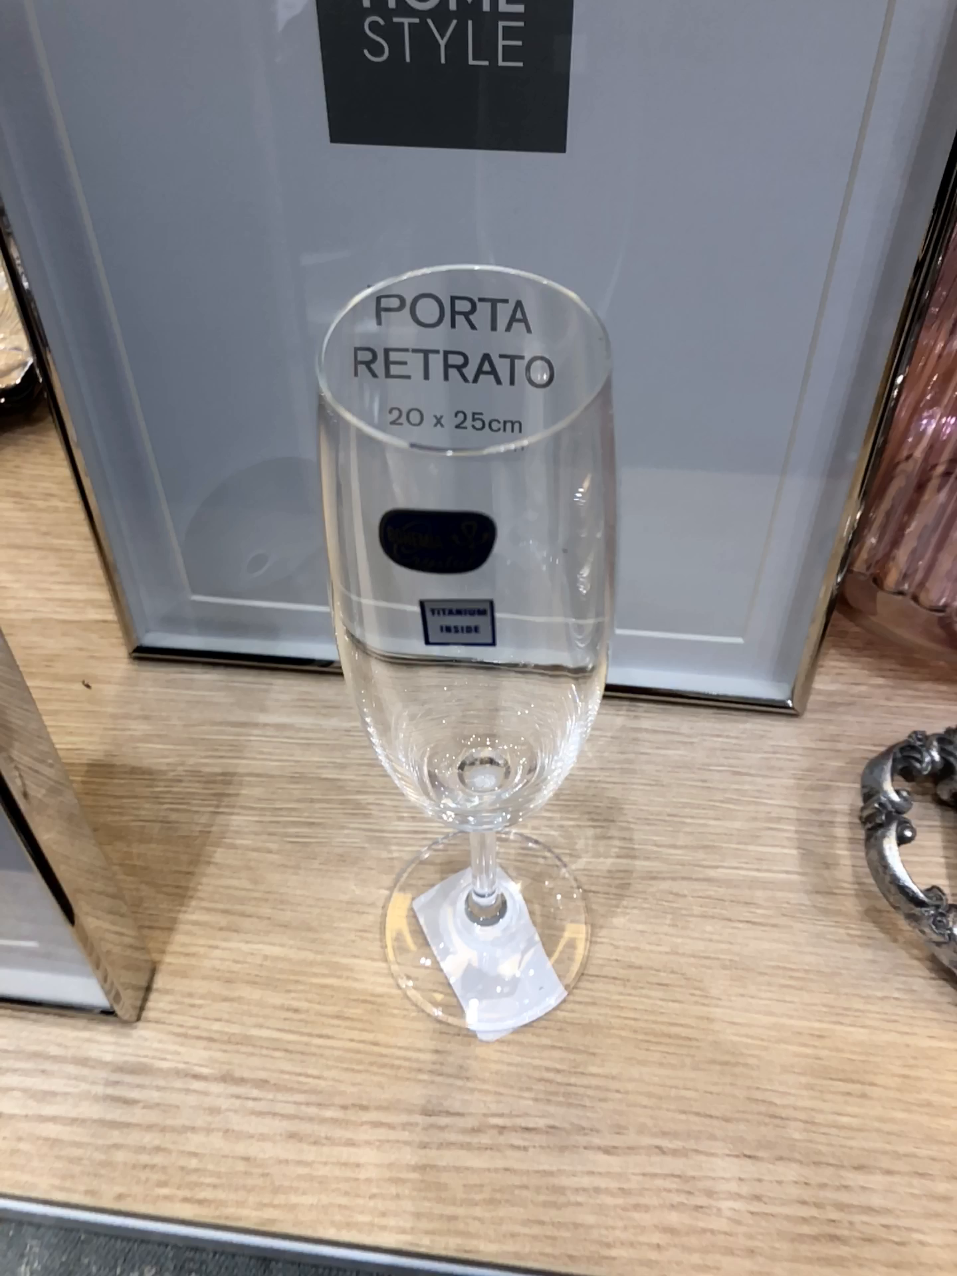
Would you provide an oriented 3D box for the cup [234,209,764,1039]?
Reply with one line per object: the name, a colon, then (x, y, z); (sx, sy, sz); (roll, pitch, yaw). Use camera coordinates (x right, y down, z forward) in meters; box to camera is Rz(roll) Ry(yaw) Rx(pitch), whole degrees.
cup: (0.007, 0.021, 0.249); (0.070, 0.219, 0.070); (-1, 52, 1)
